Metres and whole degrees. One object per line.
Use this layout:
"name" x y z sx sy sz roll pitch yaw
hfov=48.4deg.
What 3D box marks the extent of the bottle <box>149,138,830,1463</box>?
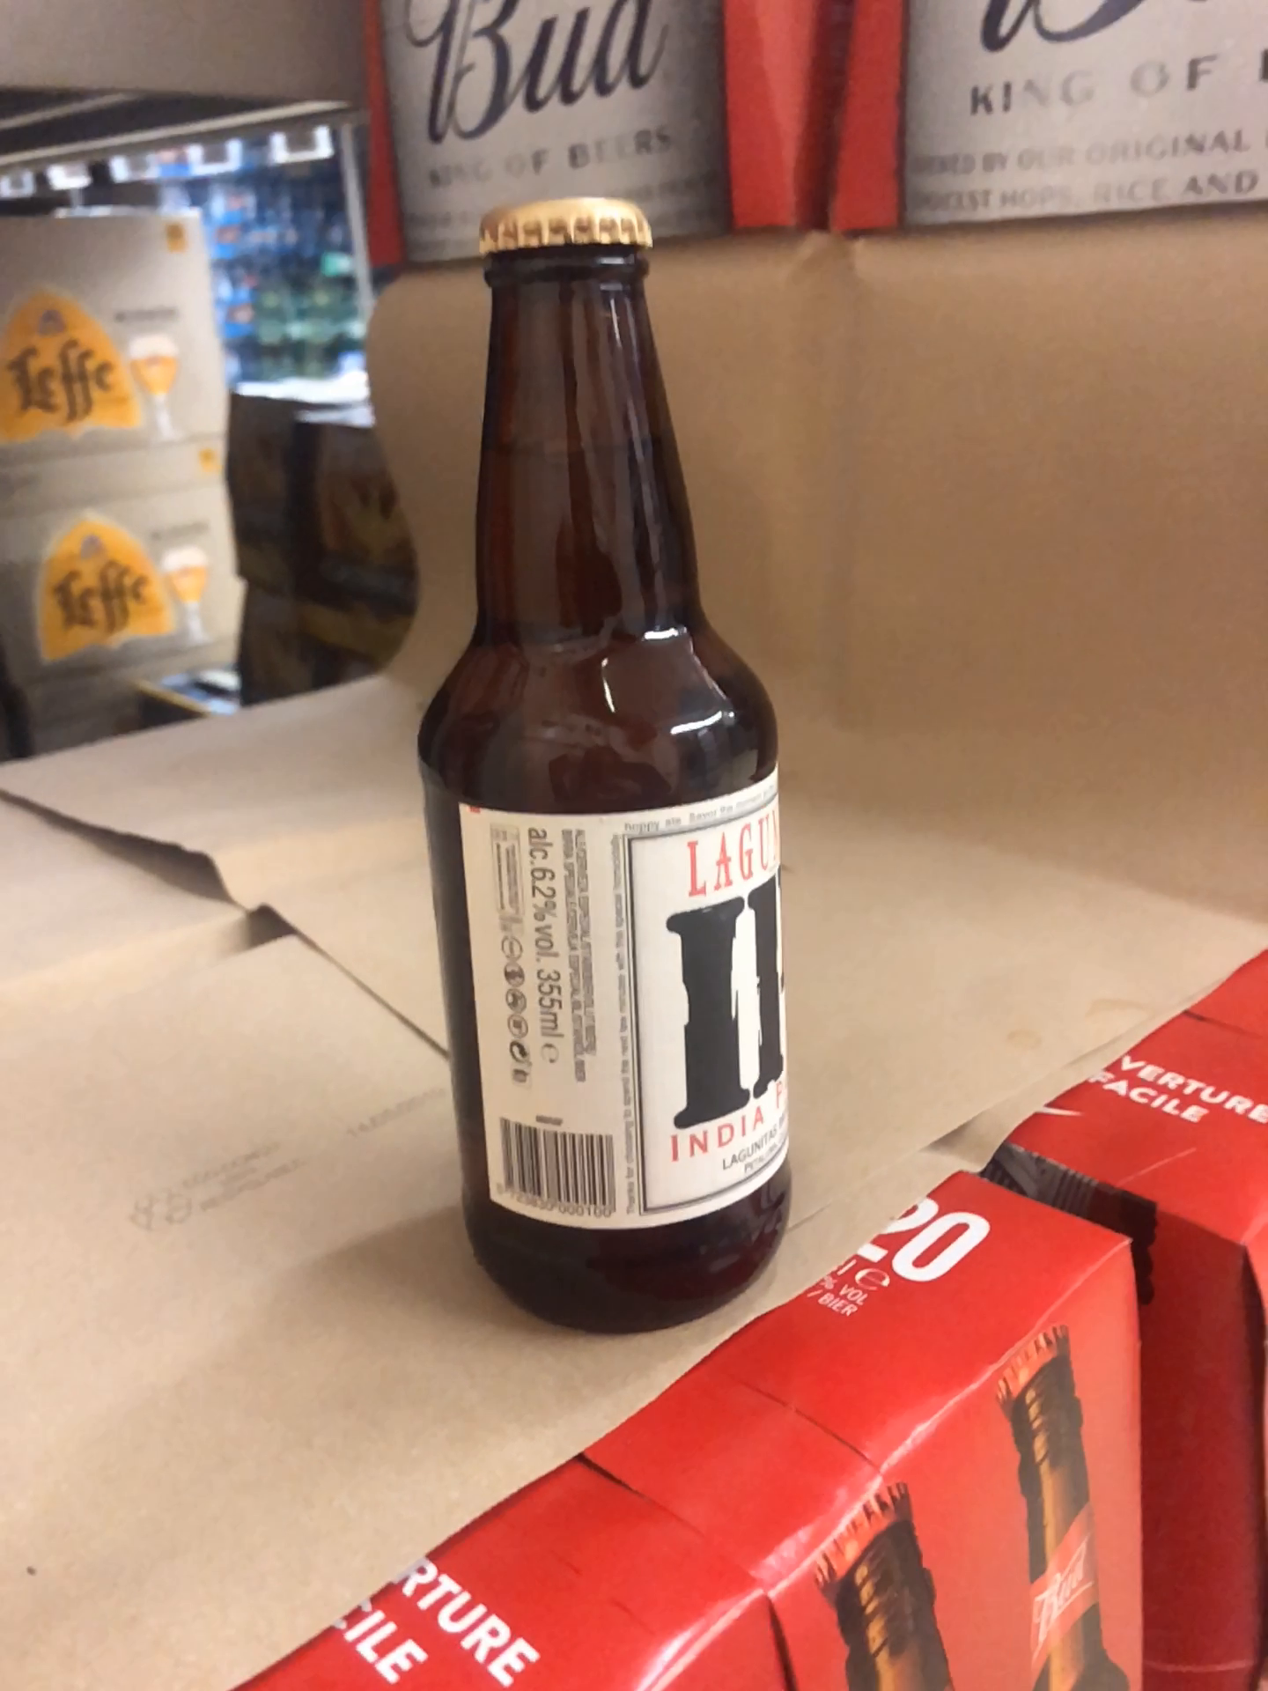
"bottle" -0.015 -0.008 0.250 0.080 0.199 0.080 0 19 0
